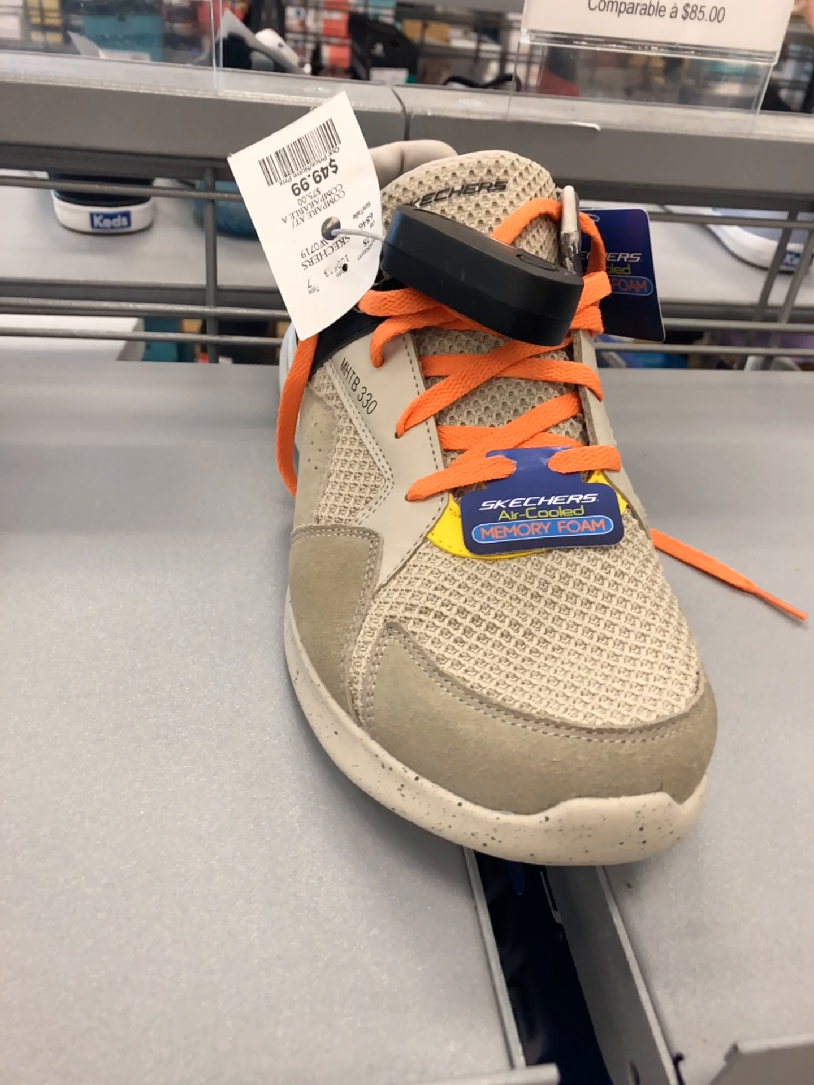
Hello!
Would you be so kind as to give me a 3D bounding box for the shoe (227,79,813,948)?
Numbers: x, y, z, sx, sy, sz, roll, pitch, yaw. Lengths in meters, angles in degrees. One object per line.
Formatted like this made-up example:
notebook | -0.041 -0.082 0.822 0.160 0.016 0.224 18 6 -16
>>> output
shoe | 0.017 -0.045 0.286 0.125 0.109 0.282 -3 41 -14
